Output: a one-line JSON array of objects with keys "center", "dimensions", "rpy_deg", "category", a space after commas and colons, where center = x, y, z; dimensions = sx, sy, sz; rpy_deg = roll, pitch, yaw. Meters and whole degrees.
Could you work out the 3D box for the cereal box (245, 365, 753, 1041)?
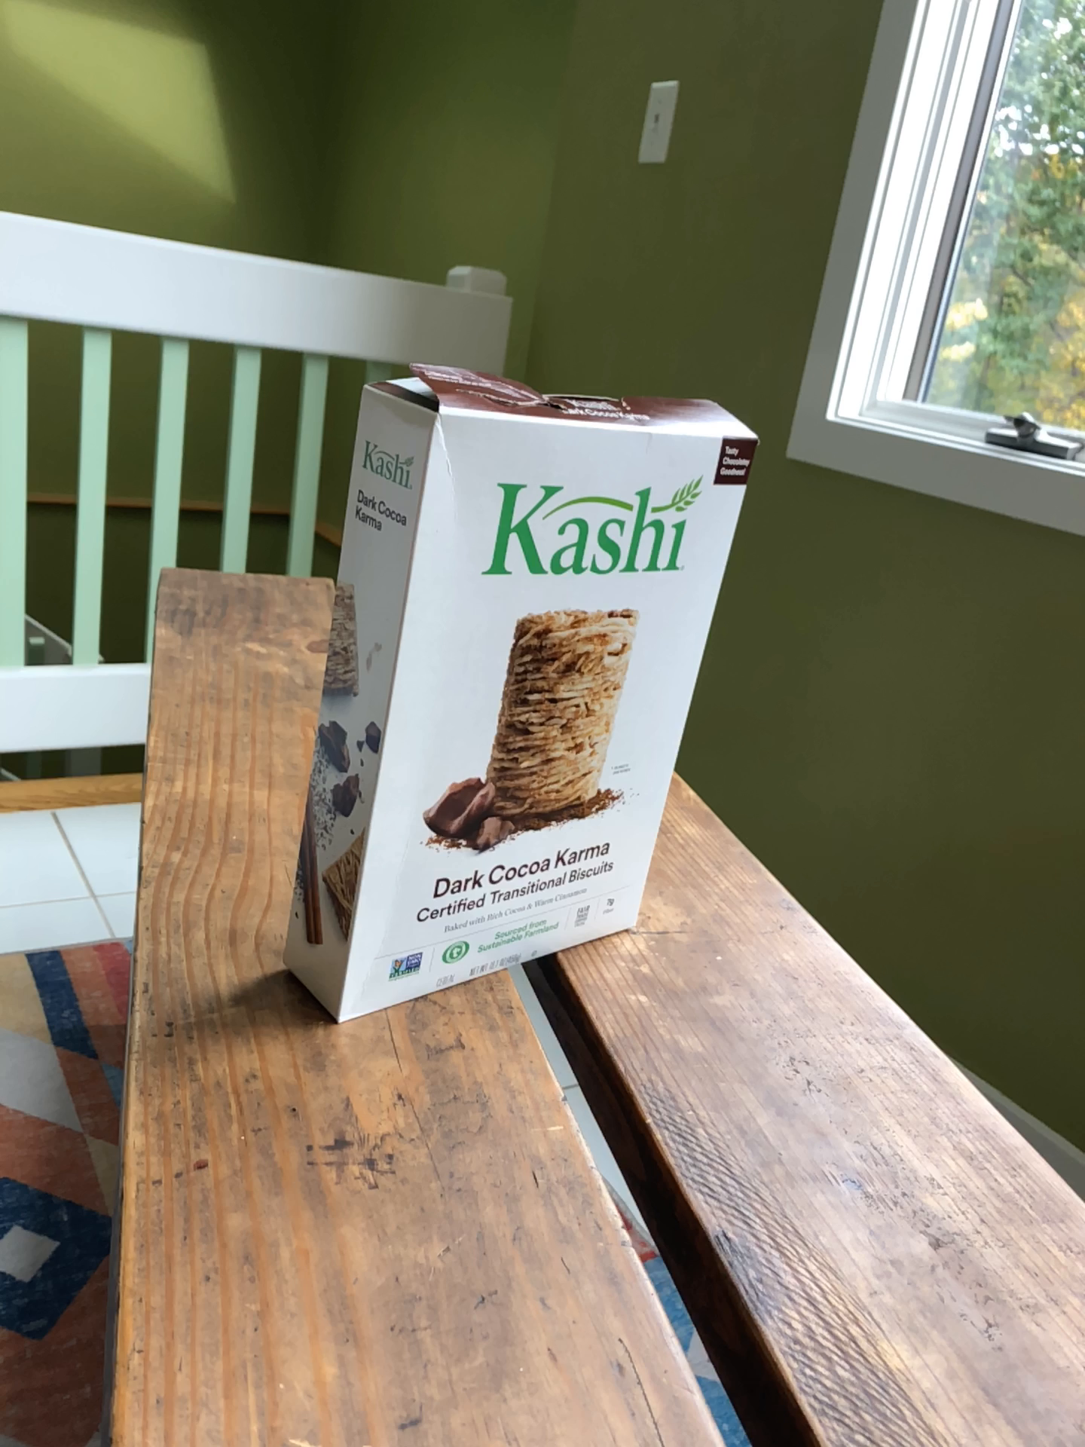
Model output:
[{"center": [-0.021, -0.012, 0.561], "dimensions": [0.201, 0.278, 0.060], "rpy_deg": [-9, 29, -42], "category": "cereal box"}]
